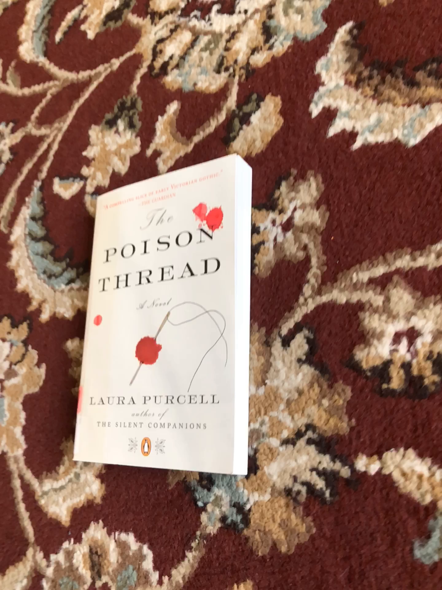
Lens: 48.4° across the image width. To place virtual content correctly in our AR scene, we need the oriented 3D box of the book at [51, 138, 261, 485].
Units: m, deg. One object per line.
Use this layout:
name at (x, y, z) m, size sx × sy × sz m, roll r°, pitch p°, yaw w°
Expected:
book at (-0.043, 0.012, 0.325) m, size 0.141 × 0.030 × 0.200 m, roll -8°, pitch 73°, yaw 31°
